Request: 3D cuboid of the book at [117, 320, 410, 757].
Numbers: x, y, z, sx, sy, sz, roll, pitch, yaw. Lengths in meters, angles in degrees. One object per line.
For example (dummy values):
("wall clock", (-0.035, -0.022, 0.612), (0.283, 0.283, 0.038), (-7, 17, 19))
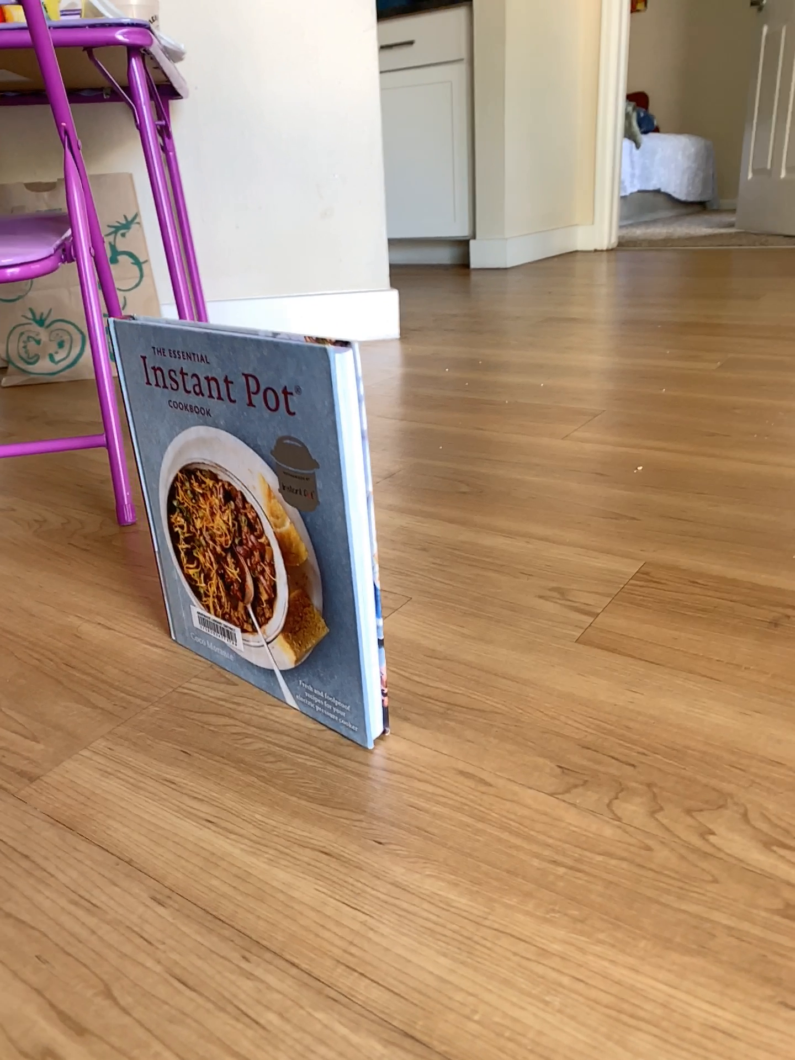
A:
("book", (-0.091, -0.005, 0.531), (0.231, 0.239, 0.030), (17, 28, 40))
